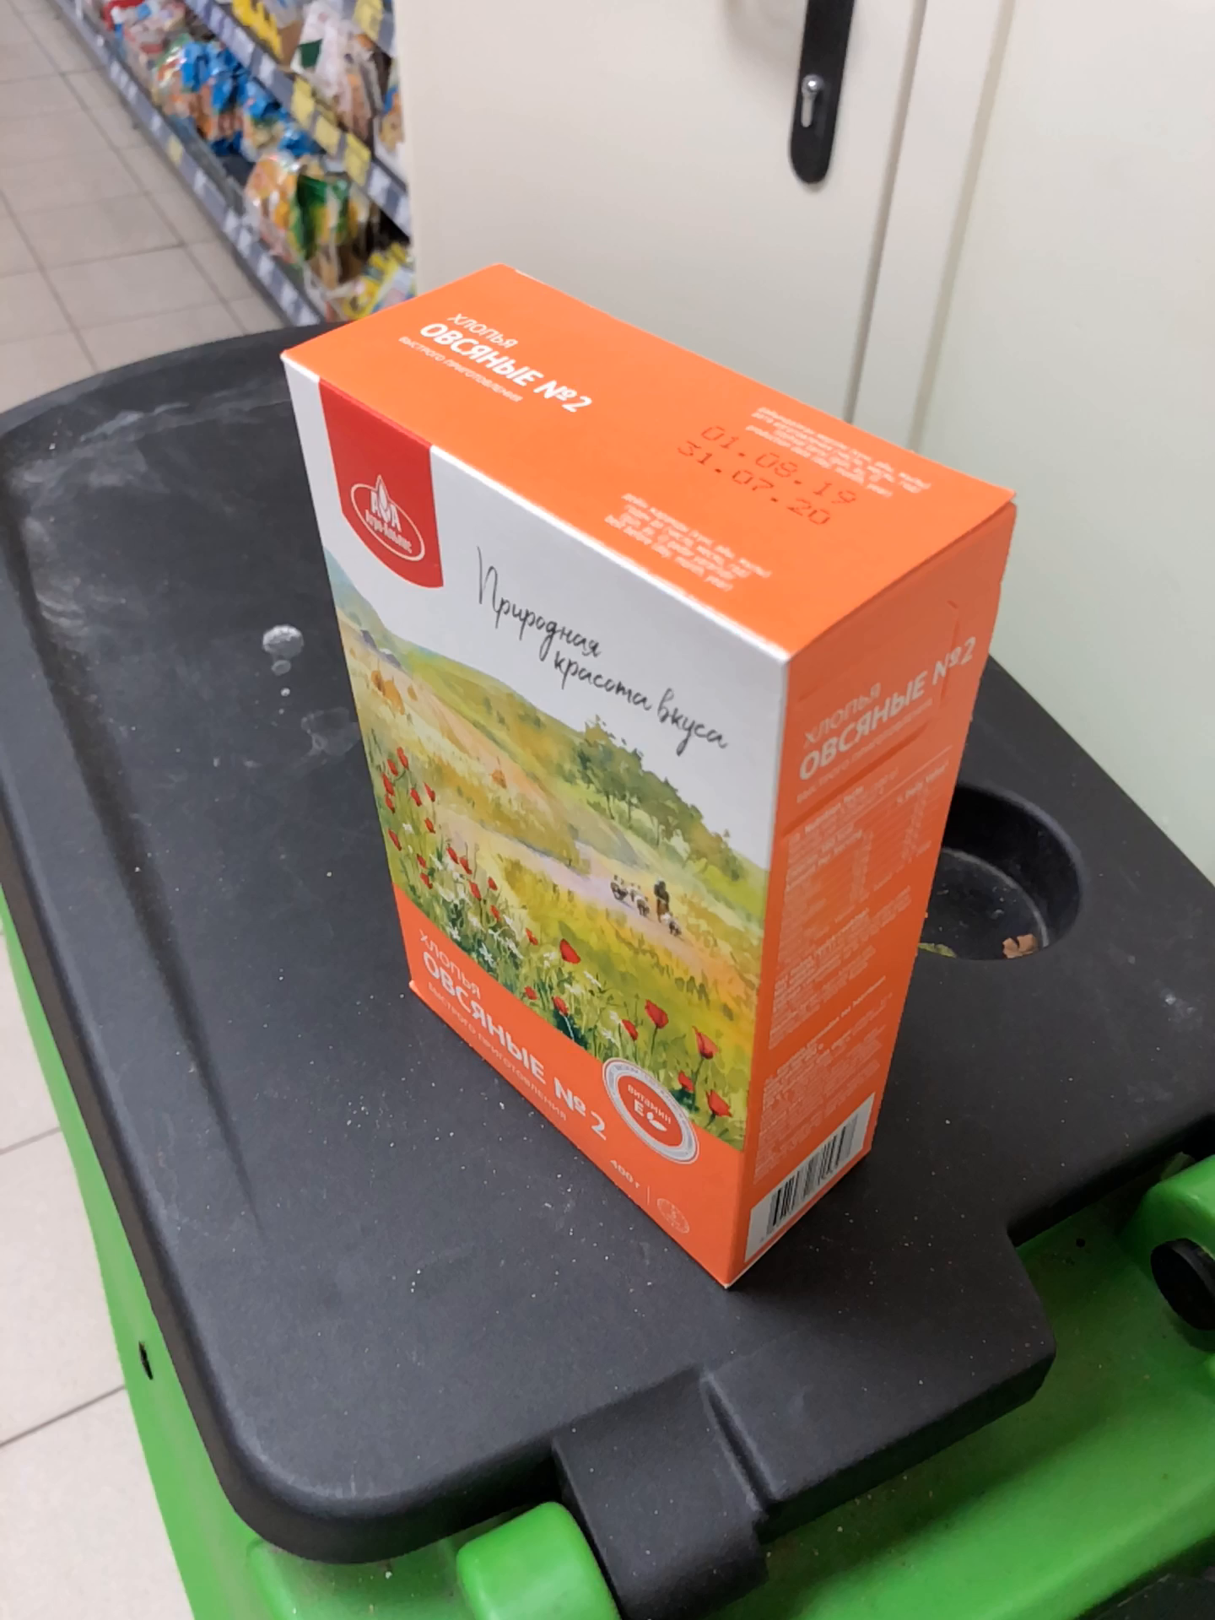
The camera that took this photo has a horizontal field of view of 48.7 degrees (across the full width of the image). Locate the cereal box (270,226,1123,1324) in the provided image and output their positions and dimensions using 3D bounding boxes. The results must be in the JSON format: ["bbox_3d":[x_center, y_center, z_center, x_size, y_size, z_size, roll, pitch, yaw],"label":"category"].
[{"bbox_3d":[0.008,0.001,0.312,0.060,0.209,0.150,-35,55,-30],"label":"cereal box"}]
